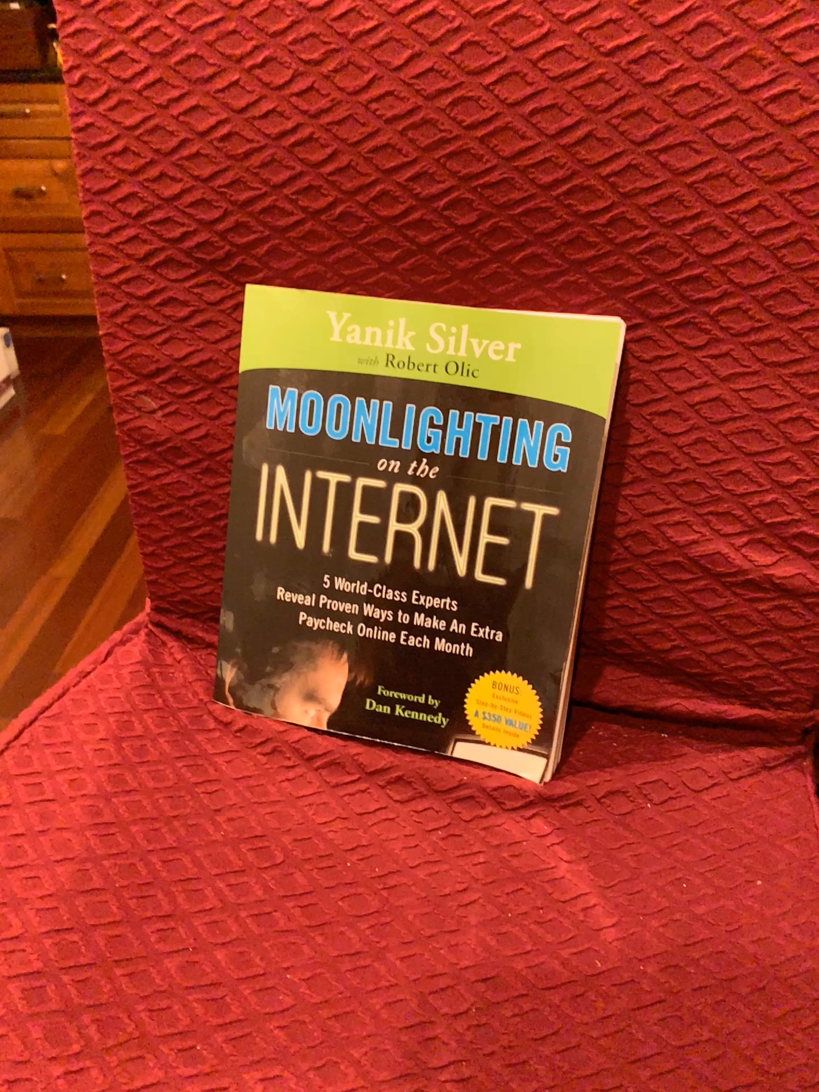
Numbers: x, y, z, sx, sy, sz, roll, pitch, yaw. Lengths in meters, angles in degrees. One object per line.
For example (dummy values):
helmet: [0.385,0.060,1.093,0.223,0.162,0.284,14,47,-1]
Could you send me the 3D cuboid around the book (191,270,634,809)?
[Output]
book: [-0.007,-0.008,0.432,0.200,0.239,0.040,9,12,15]
